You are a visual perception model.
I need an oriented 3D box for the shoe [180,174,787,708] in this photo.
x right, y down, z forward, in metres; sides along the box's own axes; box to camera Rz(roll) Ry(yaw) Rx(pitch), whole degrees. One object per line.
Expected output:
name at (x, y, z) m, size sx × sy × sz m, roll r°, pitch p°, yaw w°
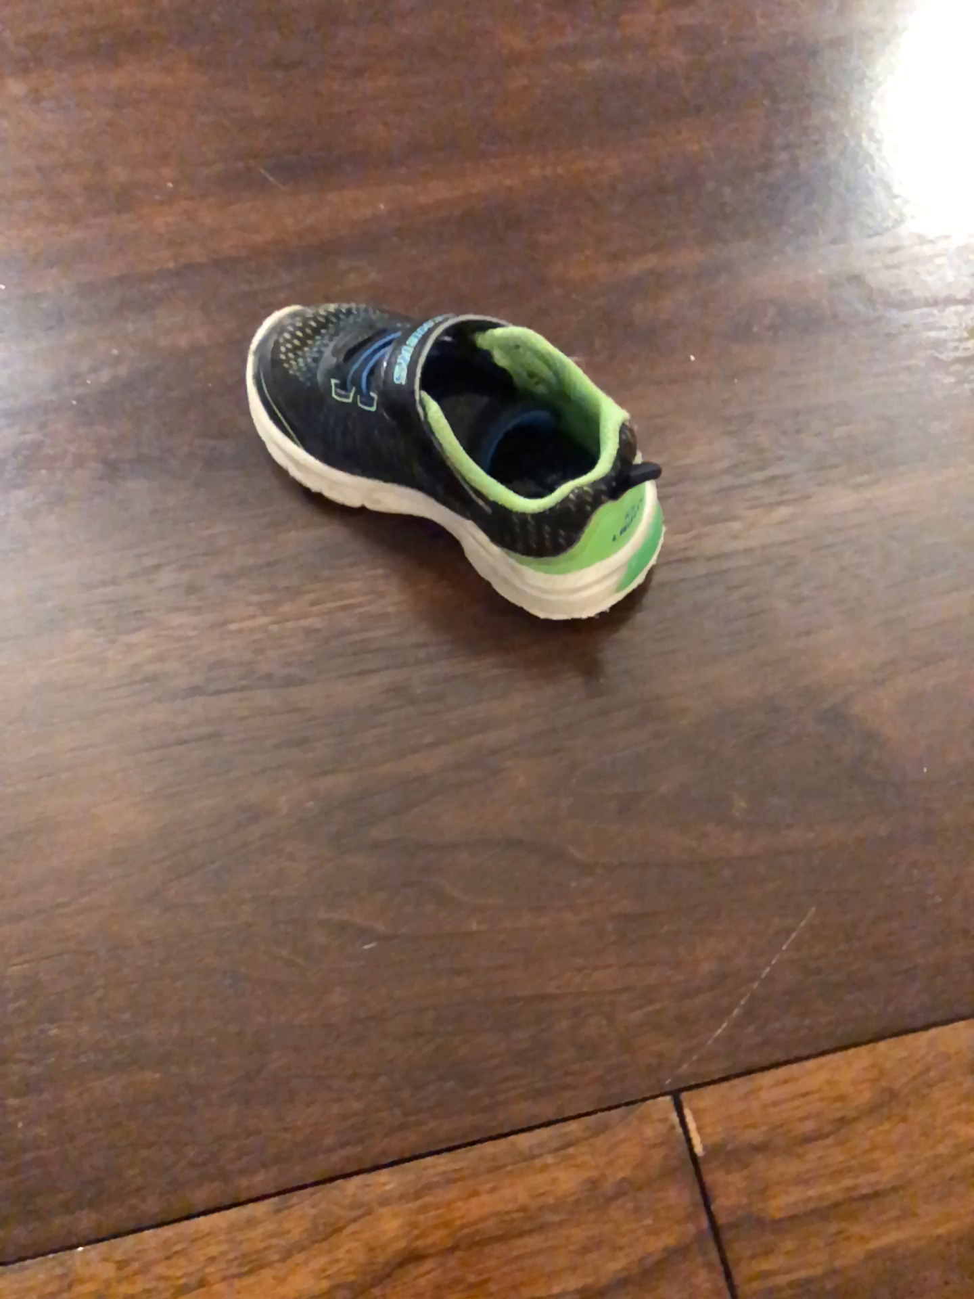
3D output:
shoe at (-0.003, -0.071, 0.366) m, size 0.170 × 0.080 × 0.080 m, roll 31°, pitch 67°, yaw 14°
